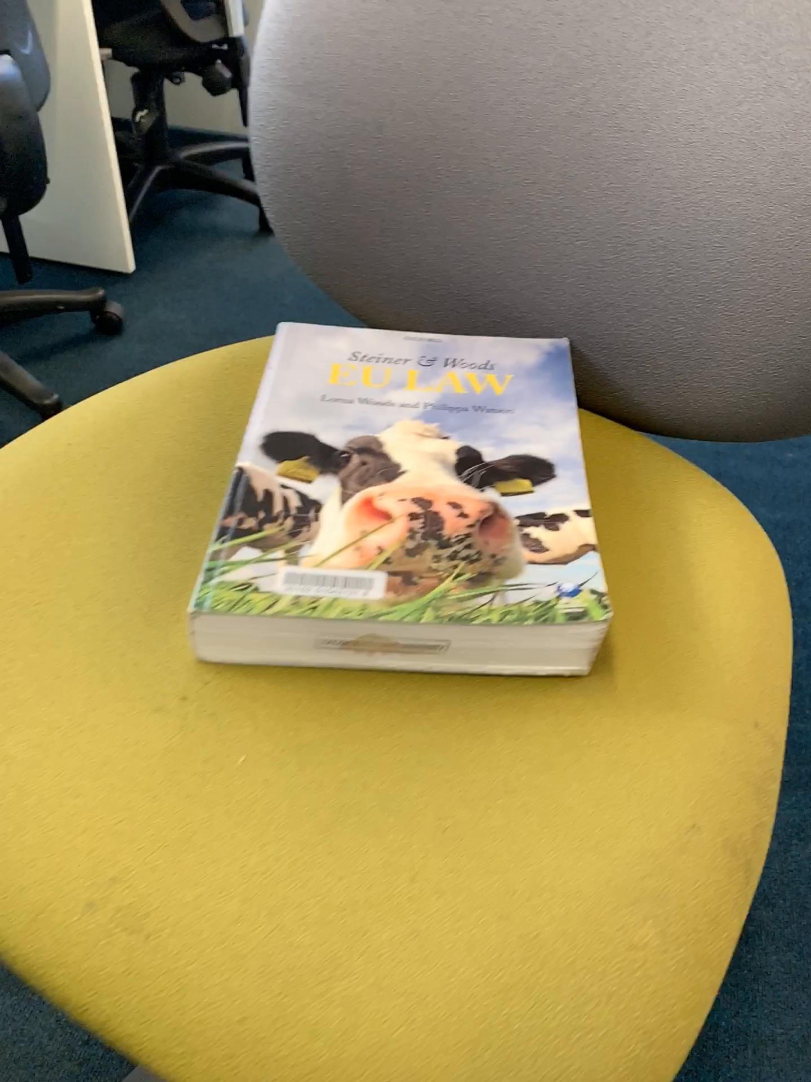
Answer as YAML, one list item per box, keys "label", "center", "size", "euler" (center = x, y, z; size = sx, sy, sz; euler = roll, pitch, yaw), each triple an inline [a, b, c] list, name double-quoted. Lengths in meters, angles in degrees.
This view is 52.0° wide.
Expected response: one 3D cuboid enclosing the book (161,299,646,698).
- label: "book"
  center: [0.003, -0.042, 0.456]
  size: [0.200, 0.050, 0.262]
  euler: [3, 43, 0]
